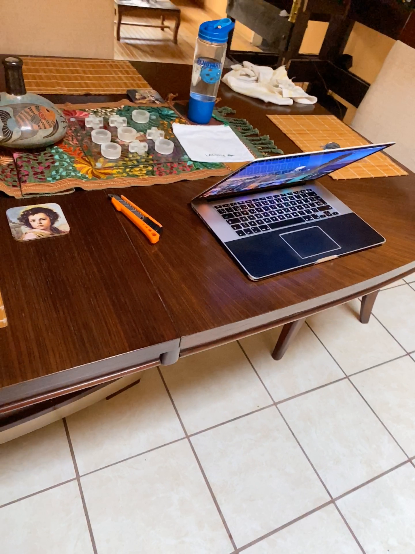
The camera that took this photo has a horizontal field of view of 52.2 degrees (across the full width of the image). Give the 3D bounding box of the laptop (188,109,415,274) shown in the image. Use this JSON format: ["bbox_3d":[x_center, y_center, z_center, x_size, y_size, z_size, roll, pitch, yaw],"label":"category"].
[{"bbox_3d":[0.184,-0.189,0.846,0.355,0.181,0.236,-15,49,-28],"label":"laptop"}]
